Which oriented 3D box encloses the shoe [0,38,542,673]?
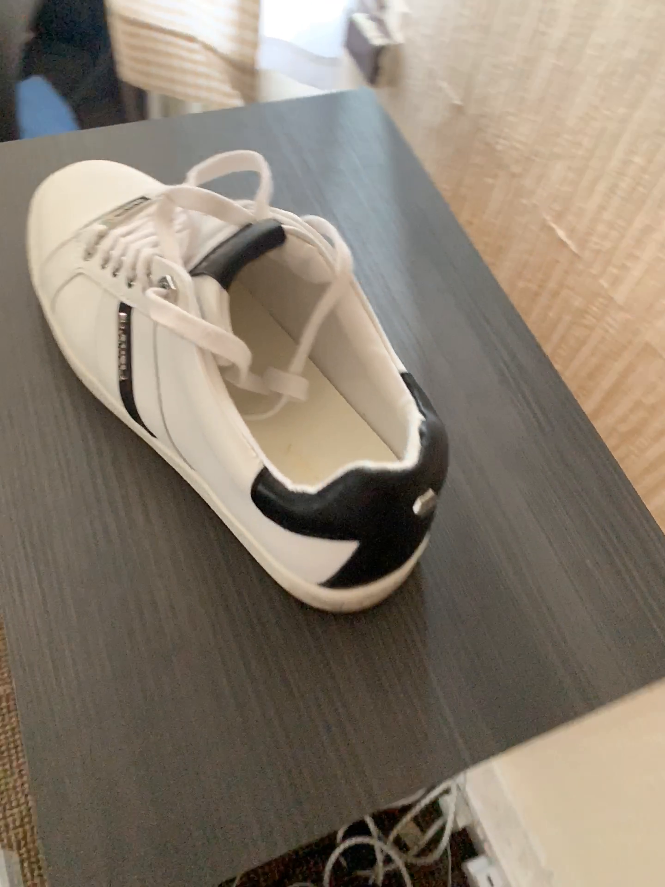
[{"bbox_3d":[-0.058,-0.050,0.290,0.104,0.087,0.261,-36,69,-23],"label":"shoe"}]
